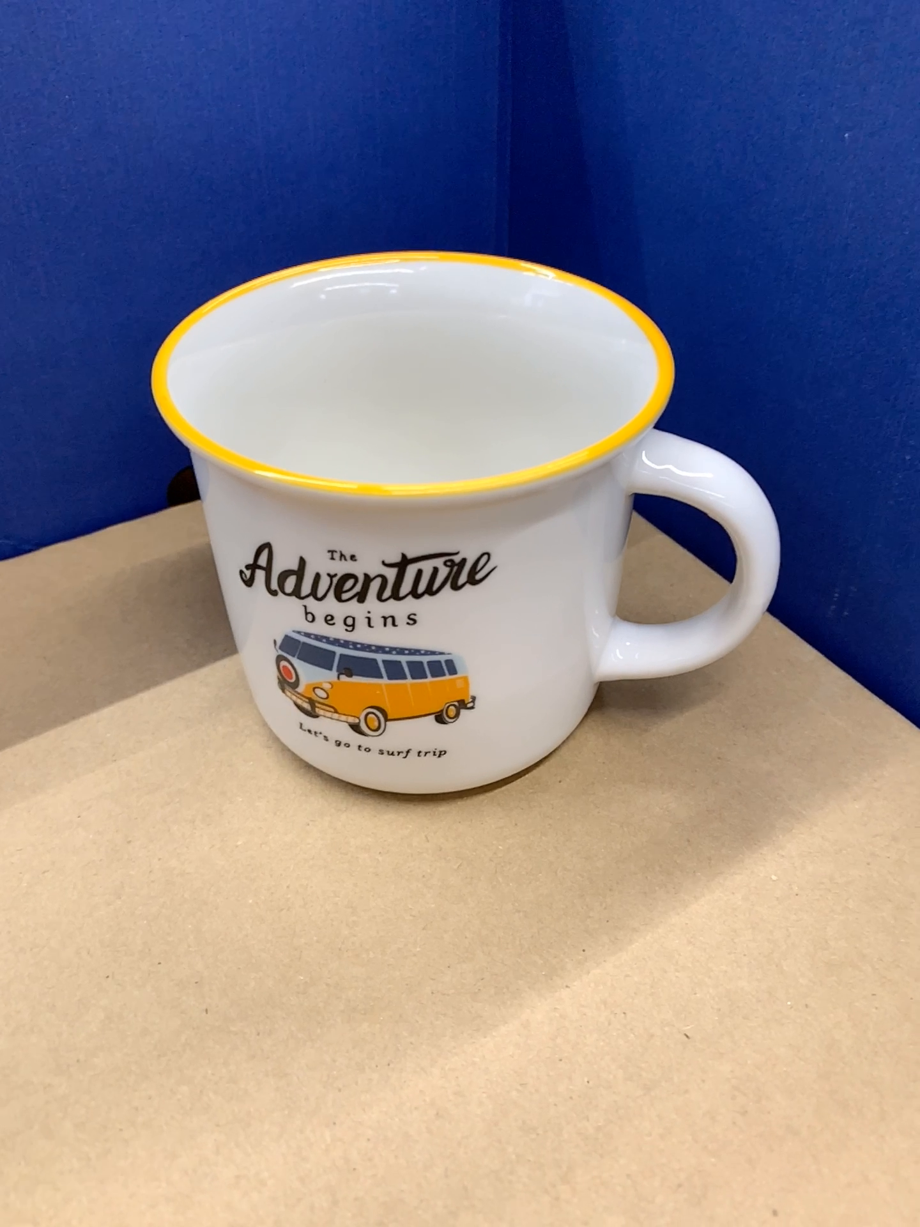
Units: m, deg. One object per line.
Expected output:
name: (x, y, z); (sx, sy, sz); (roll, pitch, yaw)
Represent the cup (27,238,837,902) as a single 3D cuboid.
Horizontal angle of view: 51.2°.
cup: (0.003, -0.017, 0.207); (0.124, 0.083, 0.102); (8, 40, 10)
